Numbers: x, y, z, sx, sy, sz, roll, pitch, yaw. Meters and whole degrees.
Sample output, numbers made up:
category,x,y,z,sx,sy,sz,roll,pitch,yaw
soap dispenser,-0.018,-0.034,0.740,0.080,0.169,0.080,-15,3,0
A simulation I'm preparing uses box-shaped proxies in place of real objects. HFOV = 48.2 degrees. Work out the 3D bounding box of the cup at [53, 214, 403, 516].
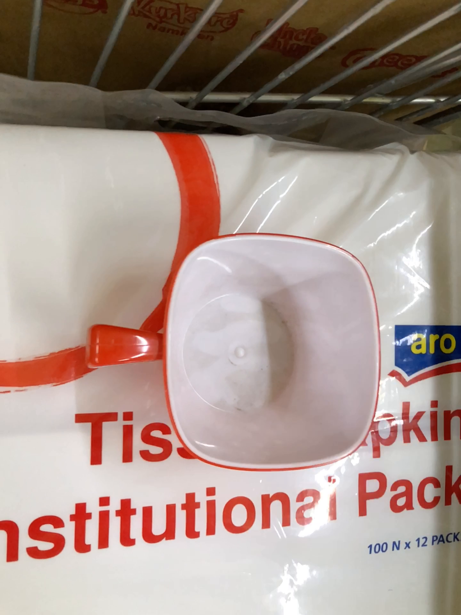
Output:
category,x,y,z,sx,sy,sz,roll,pitch,yaw
cup,-0.003,0.017,0.203,0.120,0.060,0.090,2,93,-23
